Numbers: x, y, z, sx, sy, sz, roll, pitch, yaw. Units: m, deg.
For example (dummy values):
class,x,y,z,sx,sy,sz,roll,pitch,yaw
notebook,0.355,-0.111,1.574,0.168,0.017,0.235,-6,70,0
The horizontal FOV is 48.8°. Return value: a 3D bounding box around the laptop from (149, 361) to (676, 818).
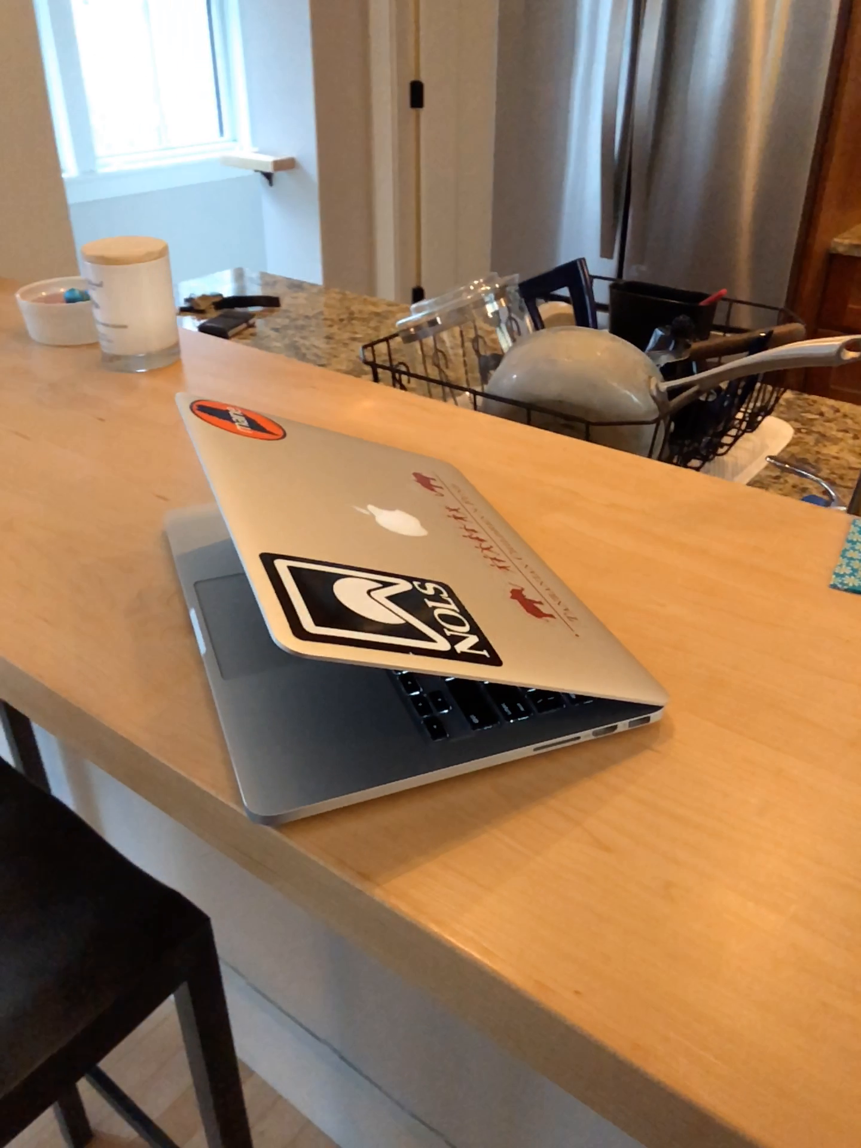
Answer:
class,x,y,z,sx,sy,sz,roll,pitch,yaw
laptop,-0.035,-0.022,0.552,0.210,0.084,0.301,-11,33,-17
